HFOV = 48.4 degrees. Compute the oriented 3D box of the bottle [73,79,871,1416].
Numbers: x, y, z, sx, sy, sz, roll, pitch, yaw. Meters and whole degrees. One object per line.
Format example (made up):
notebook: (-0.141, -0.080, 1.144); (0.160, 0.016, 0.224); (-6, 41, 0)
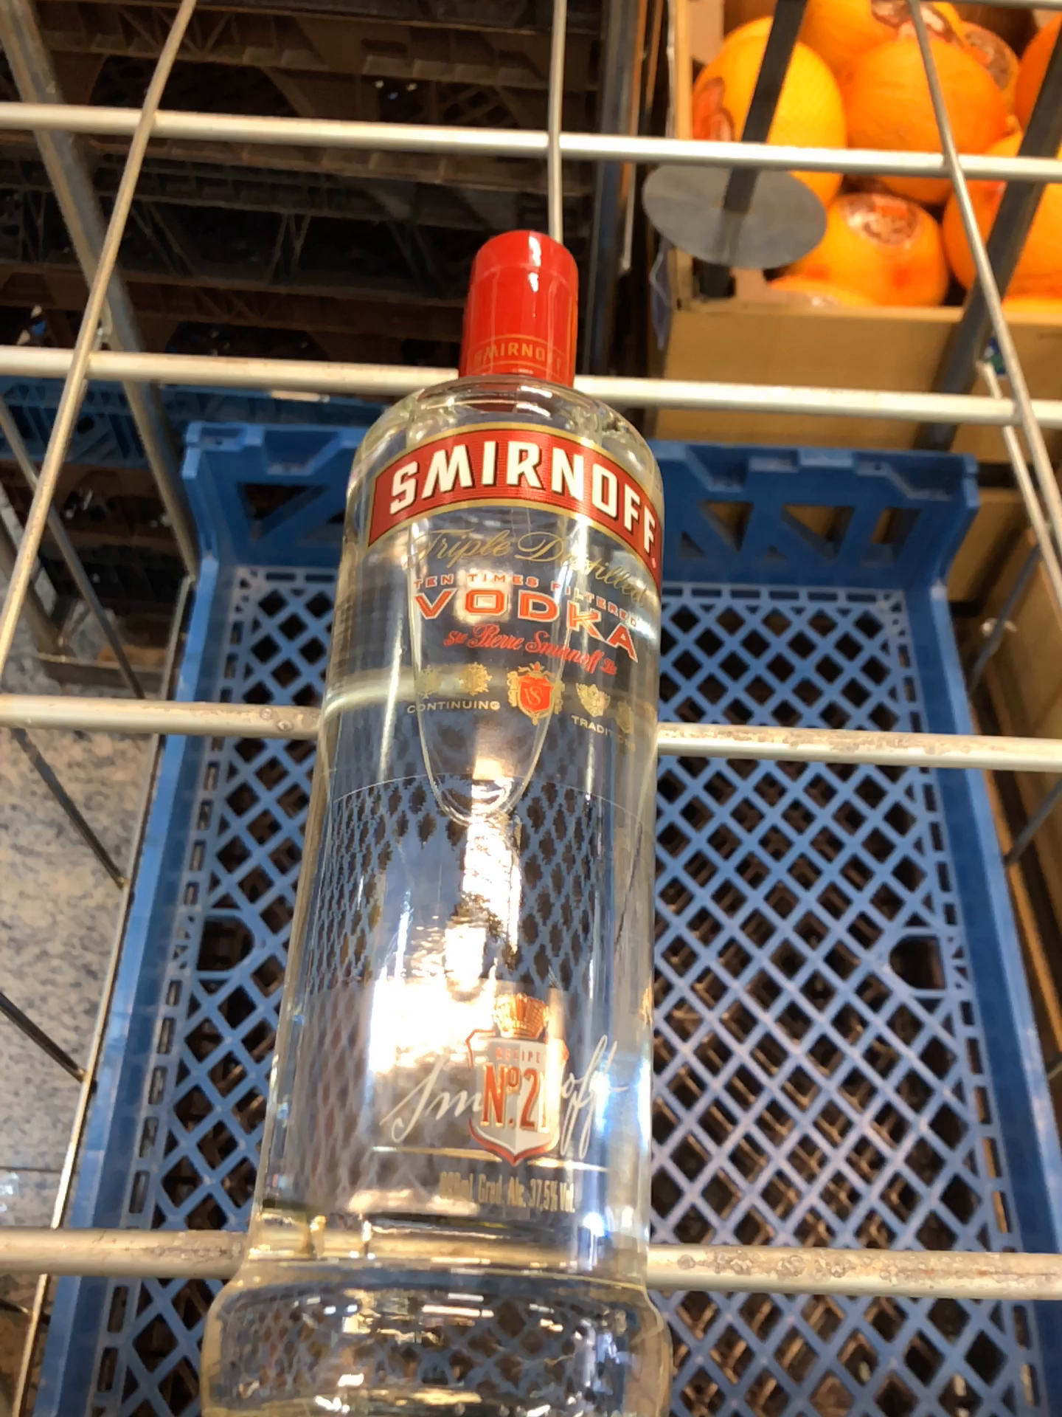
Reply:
bottle: (-0.006, -0.002, 0.271); (0.100, 0.100, 0.311); (3, 59, -2)
